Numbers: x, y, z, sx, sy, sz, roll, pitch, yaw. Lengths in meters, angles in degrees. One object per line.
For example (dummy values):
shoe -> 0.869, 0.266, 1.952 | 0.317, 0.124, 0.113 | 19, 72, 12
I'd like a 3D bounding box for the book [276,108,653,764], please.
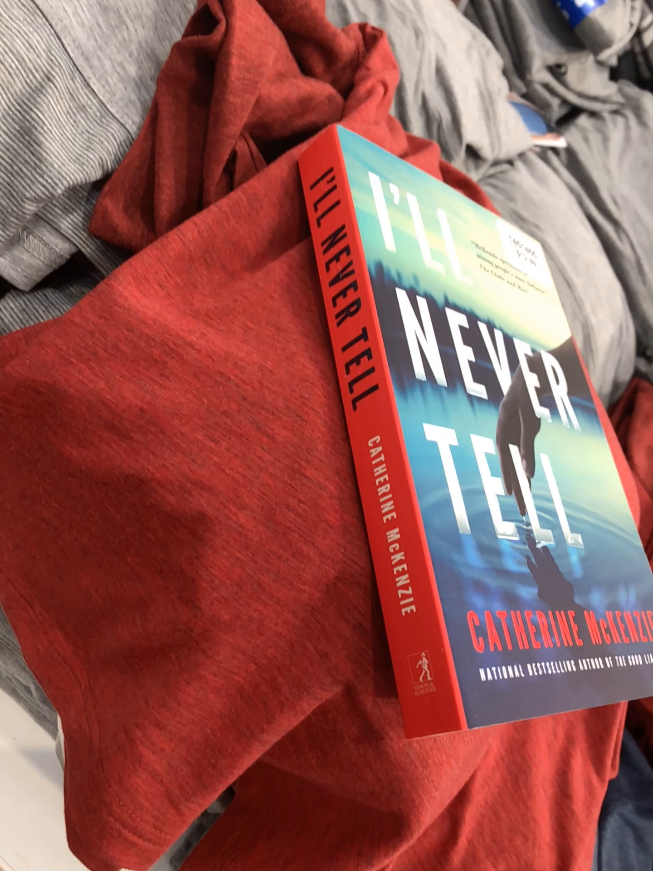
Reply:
book -> 0.062, -0.003, 0.273 | 0.144, 0.032, 0.208 | 12, 59, -42
